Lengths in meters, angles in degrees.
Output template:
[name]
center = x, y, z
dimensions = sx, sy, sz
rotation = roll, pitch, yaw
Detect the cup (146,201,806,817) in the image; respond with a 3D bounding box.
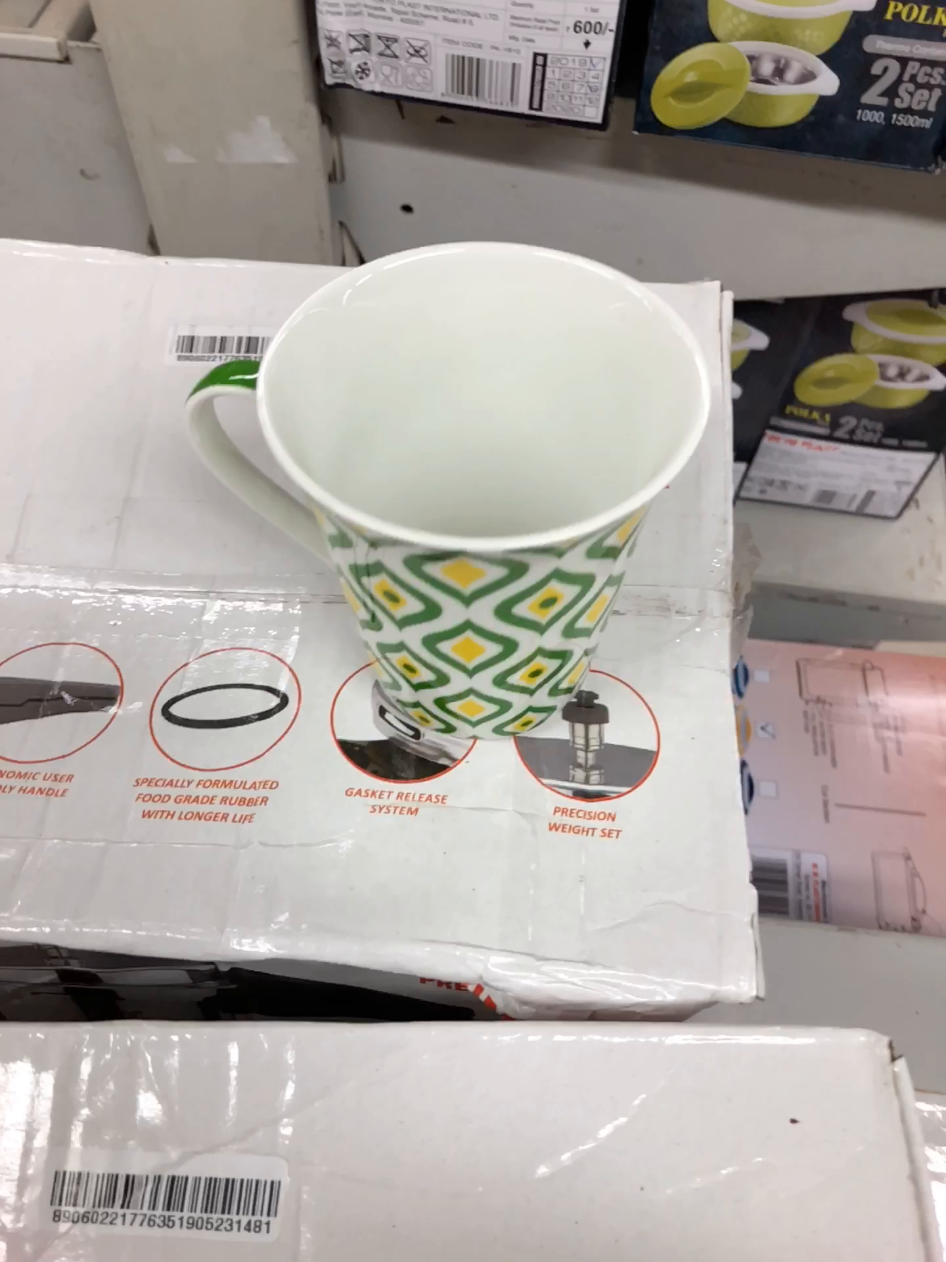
[cup]
center = 0.003, -0.025, 0.238
dimensions = 0.110, 0.089, 0.091
rotation = 6, 54, 2
